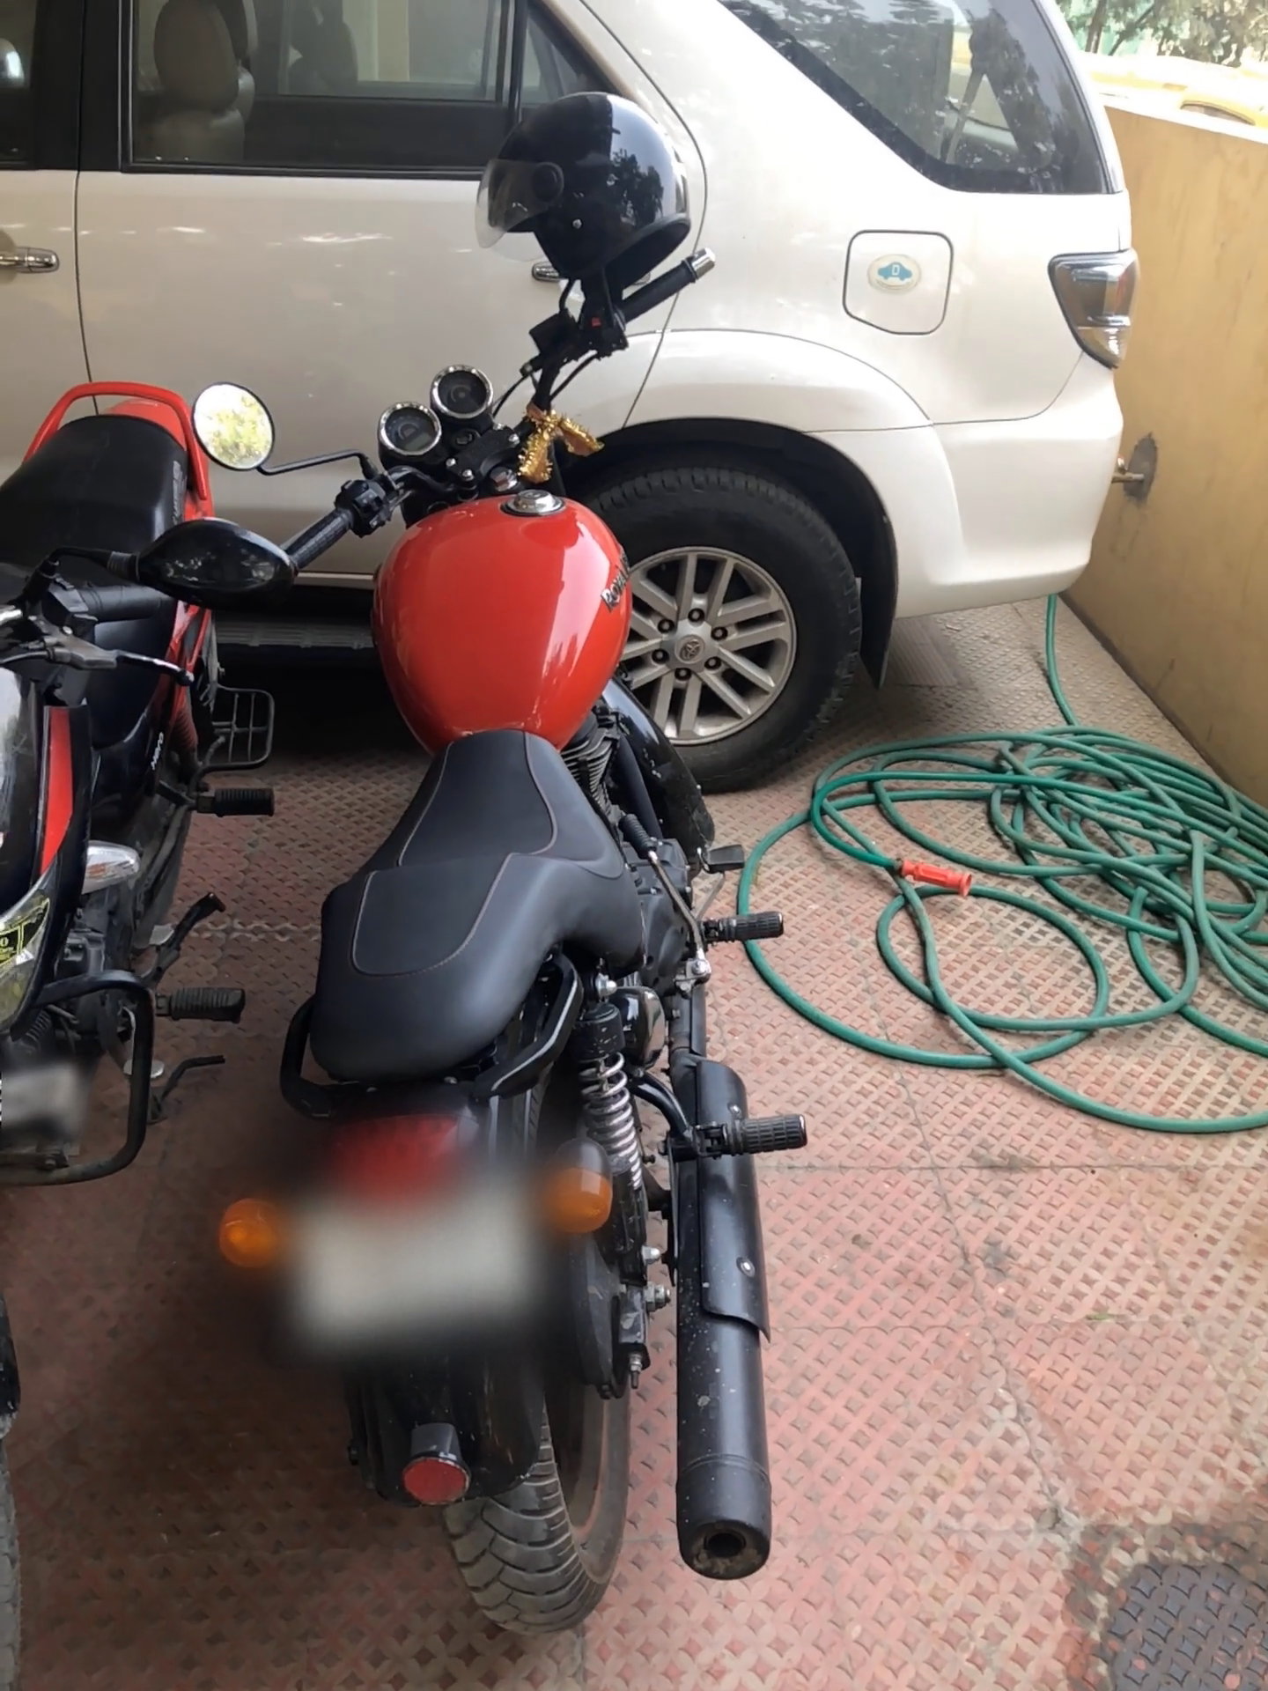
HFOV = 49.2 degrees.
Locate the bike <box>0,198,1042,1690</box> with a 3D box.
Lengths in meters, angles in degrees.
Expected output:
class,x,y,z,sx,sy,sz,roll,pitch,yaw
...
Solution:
class,x,y,z,sx,sy,sz,roll,pitch,yaw
bike,-0.257,-0.038,1.859,0.820,1.270,1.722,2,31,-4
